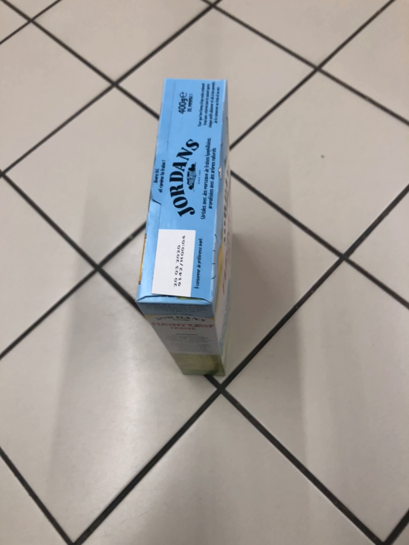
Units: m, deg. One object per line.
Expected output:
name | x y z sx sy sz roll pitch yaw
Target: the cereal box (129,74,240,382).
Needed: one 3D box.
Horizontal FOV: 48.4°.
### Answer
cereal box | -0.001 -0.013 0.385 0.050 0.229 0.171 1 67 6
